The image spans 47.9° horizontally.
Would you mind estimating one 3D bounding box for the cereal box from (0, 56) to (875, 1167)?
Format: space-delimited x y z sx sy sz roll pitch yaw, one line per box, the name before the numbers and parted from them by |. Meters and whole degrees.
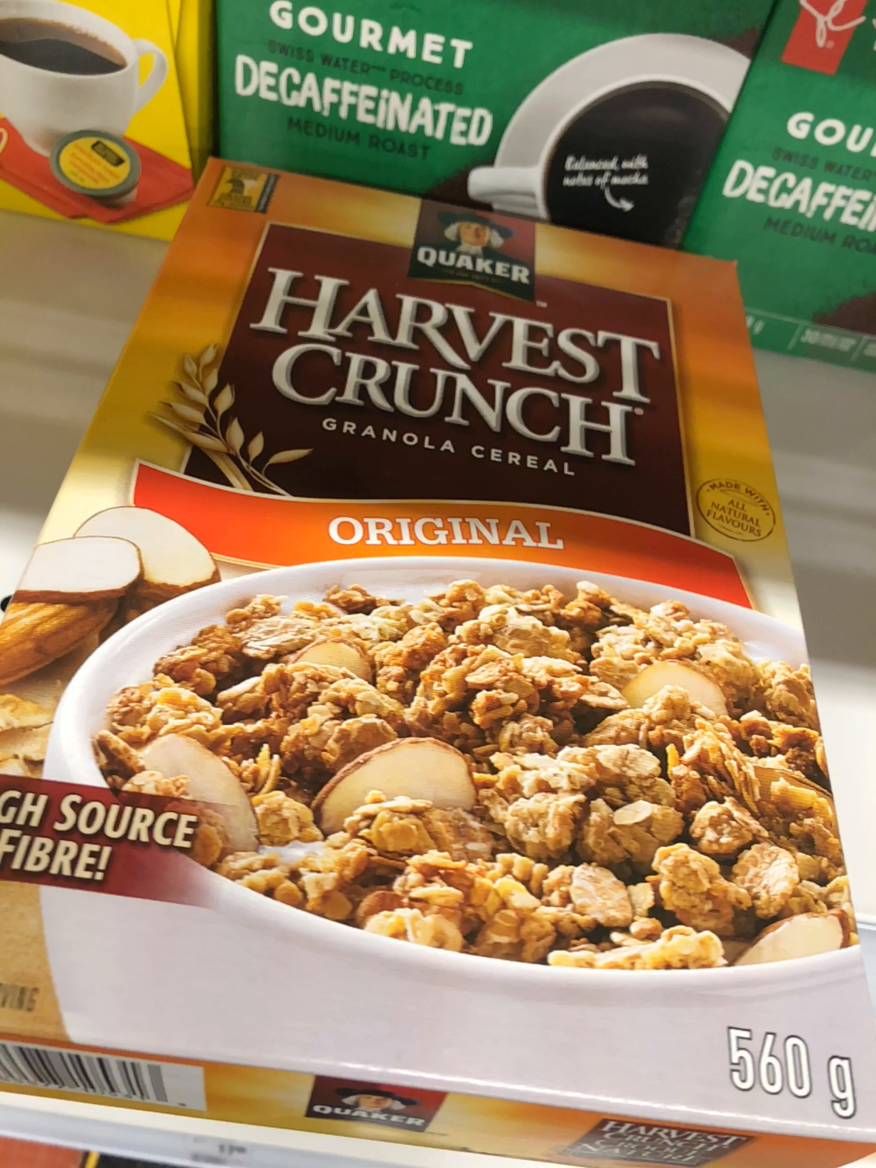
cereal box | 0.000 -0.023 0.237 0.170 0.050 0.281 9 51 -4
